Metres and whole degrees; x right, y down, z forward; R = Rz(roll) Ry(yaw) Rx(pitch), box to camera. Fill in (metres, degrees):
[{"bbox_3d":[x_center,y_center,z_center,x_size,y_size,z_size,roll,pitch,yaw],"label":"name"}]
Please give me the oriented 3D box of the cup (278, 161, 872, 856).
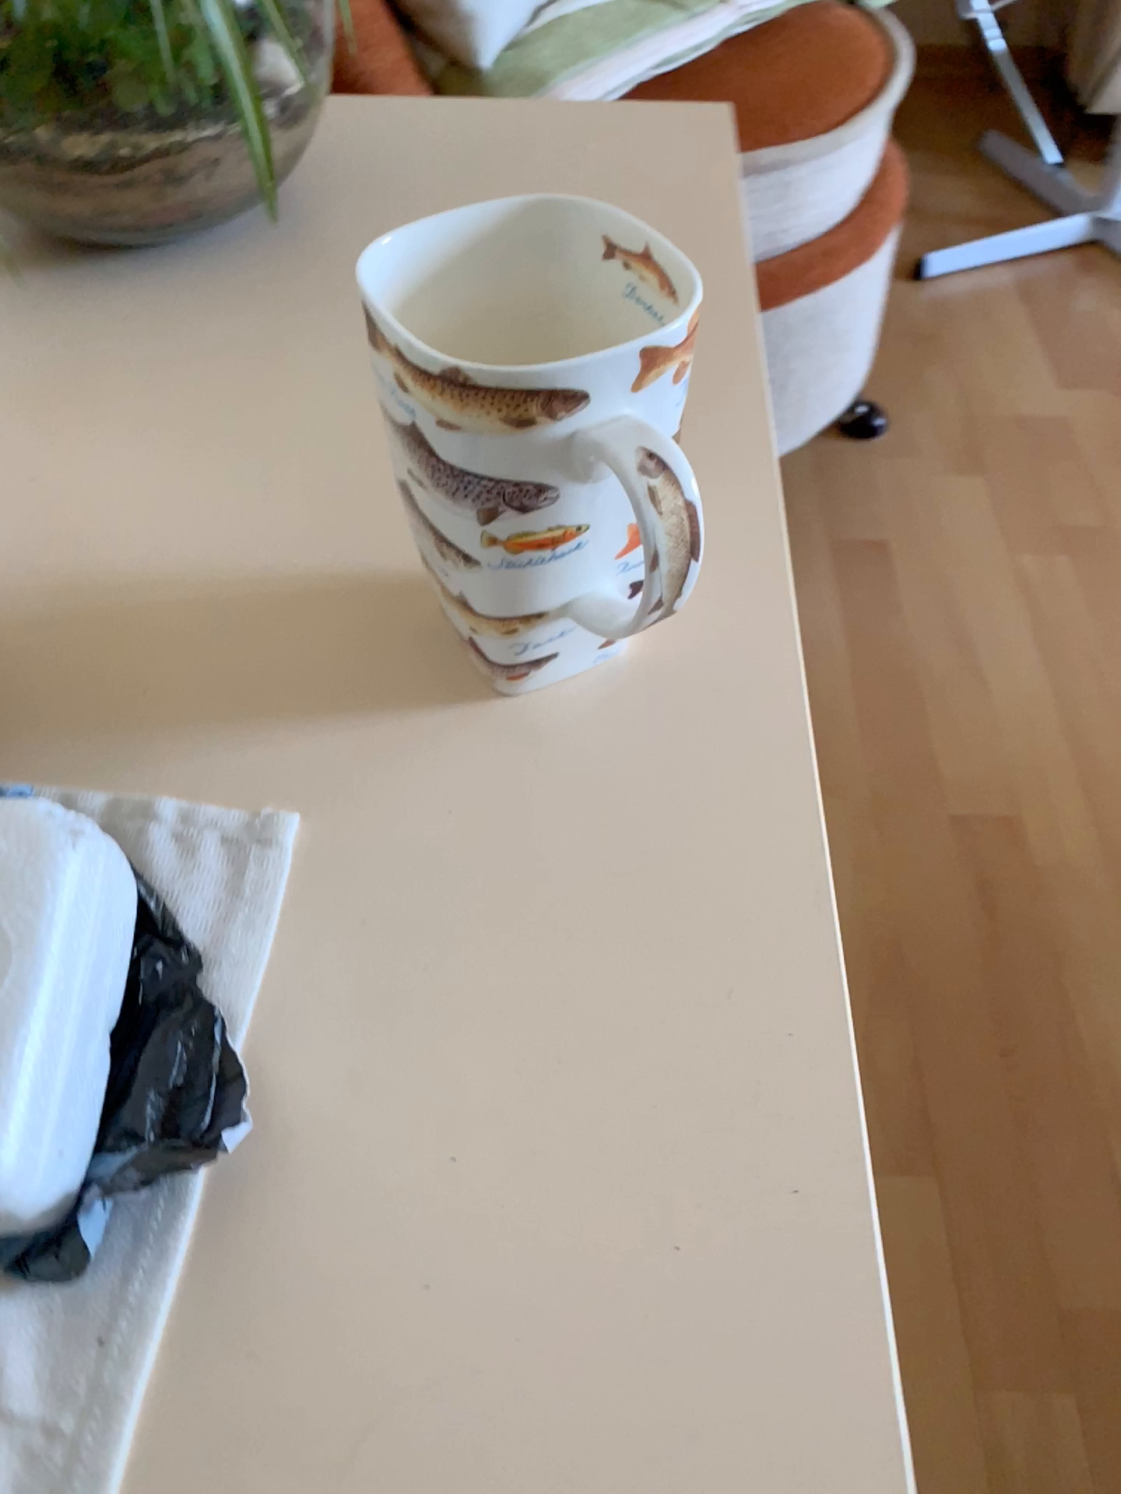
[{"bbox_3d":[-0.003,-0.075,0.351,0.100,0.129,0.141,-22,53,-18],"label":"cup"}]
